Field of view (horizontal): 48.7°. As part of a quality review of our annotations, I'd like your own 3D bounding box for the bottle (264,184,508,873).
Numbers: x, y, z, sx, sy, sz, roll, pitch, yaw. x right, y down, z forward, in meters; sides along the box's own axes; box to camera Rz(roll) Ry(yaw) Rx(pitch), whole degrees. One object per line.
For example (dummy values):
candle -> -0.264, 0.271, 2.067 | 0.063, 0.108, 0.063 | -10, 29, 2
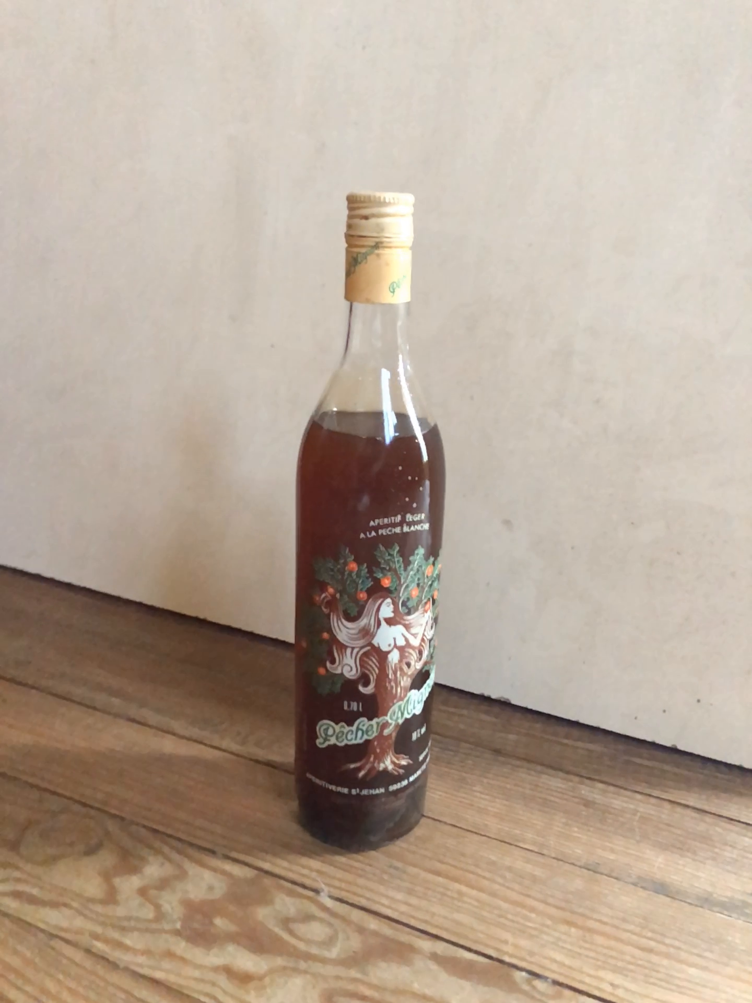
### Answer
bottle -> -0.006, 0.020, 0.400 | 0.080, 0.318, 0.070 | -4, 22, -19
